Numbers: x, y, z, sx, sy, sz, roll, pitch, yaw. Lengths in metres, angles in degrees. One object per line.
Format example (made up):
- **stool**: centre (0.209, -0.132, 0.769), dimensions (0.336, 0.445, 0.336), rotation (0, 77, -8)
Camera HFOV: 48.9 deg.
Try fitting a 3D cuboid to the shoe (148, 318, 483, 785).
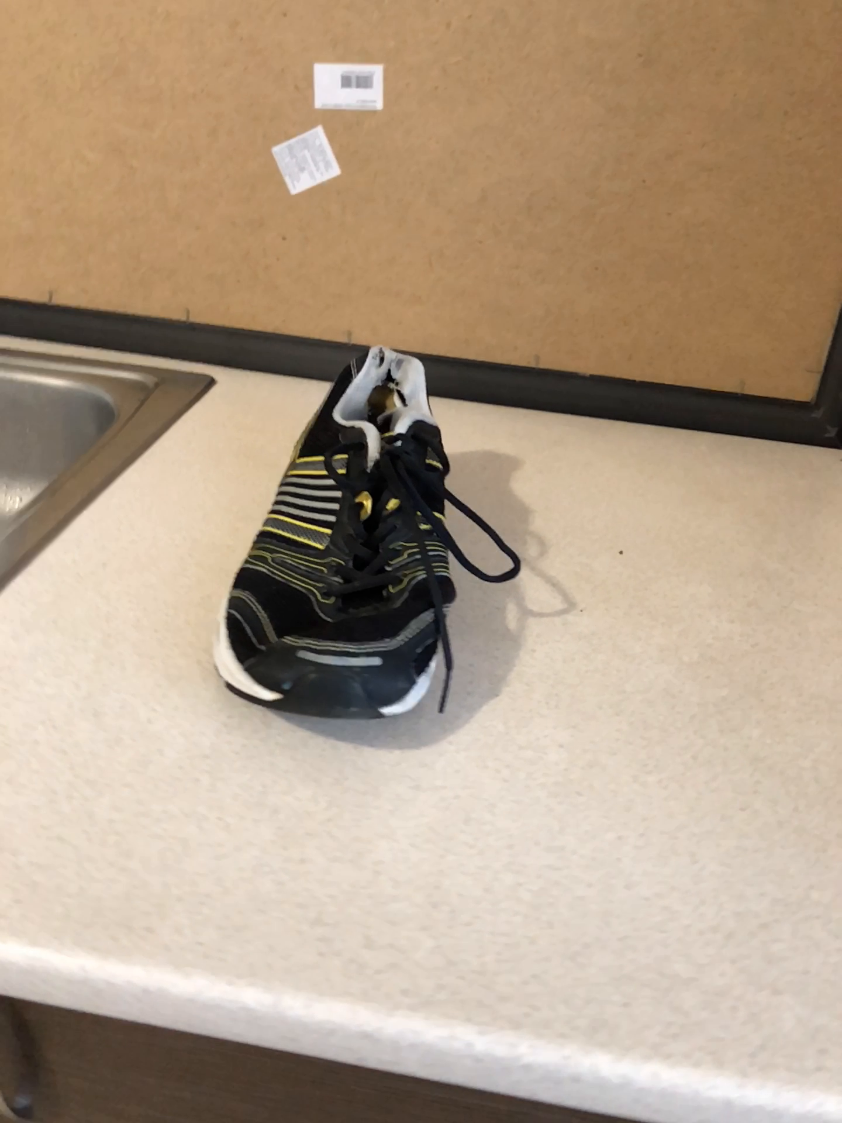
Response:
- **shoe**: centre (-0.034, -0.034, 0.498), dimensions (0.110, 0.099, 0.312), rotation (6, 30, 3)
